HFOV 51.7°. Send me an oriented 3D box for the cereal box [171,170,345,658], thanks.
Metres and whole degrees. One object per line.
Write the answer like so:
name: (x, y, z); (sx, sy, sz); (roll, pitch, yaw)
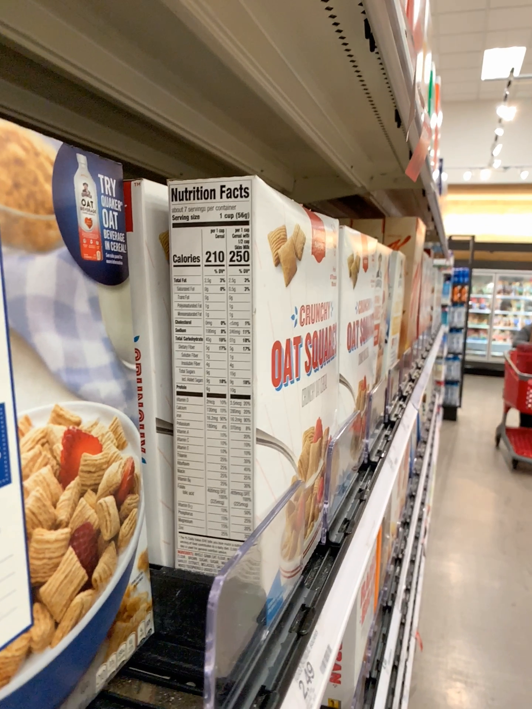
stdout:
cereal box: (0.007, 0.024, 0.376); (0.060, 0.250, 0.190); (2, 6, 17)
